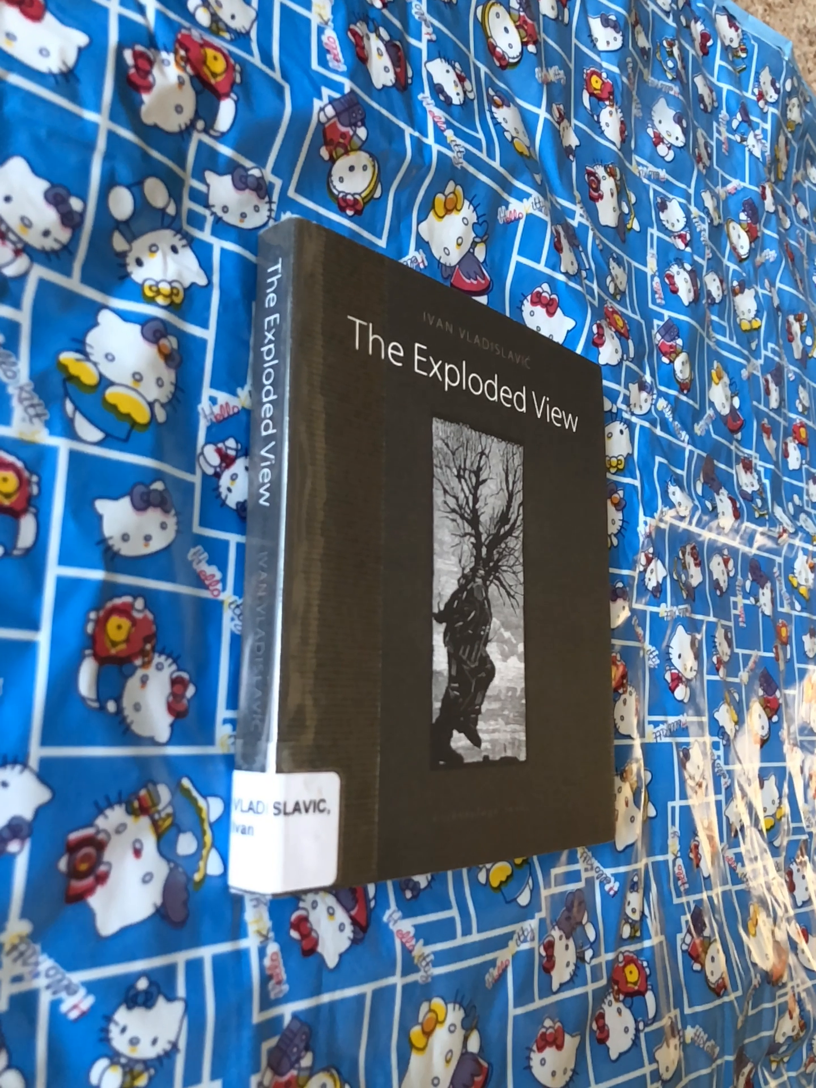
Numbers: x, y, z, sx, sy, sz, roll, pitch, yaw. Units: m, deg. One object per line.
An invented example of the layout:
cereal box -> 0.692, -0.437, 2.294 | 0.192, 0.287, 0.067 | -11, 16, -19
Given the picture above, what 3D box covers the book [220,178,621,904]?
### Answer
book -> 0.016, 0.005, 0.265 | 0.141, 0.020, 0.170 | 11, 77, -45
